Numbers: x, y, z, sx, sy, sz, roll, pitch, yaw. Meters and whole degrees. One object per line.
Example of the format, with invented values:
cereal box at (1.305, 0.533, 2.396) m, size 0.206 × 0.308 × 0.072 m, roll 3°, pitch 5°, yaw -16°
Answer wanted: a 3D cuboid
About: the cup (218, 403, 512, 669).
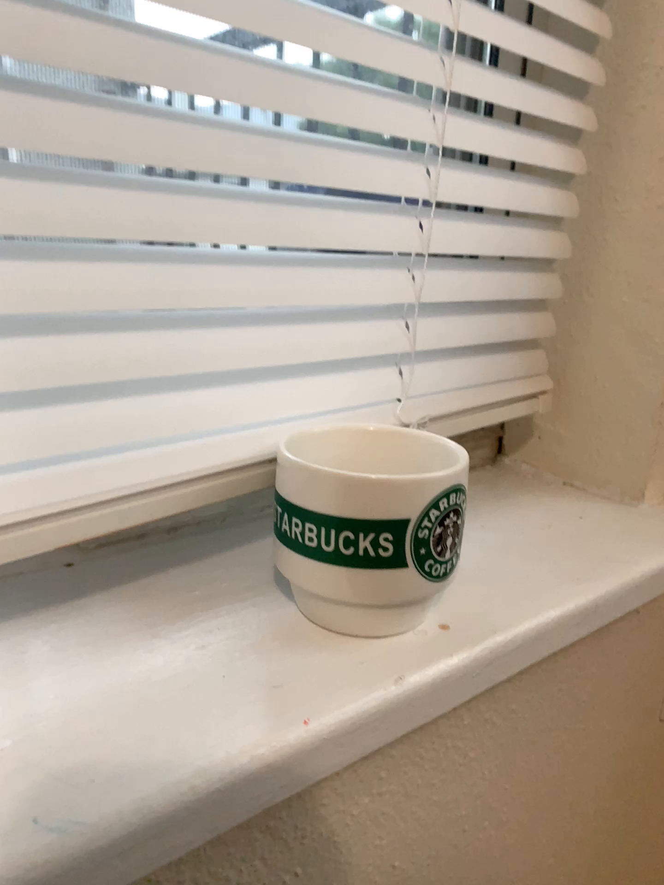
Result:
cup at (0.017, 0.026, 0.267) m, size 0.070 × 0.060 × 0.100 m, roll 12°, pitch 16°, yaw 29°
